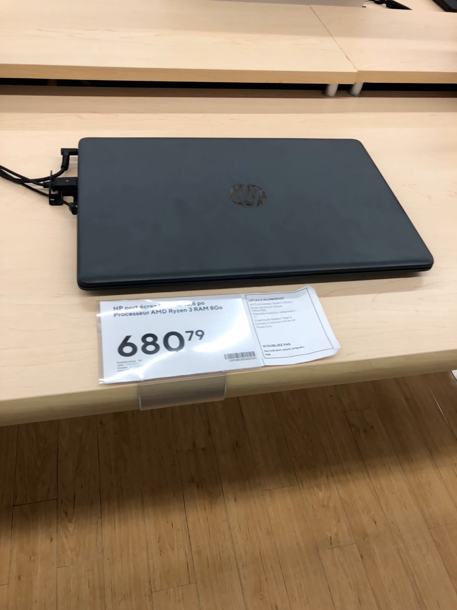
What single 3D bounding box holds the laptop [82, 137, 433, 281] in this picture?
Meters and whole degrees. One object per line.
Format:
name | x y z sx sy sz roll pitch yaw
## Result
laptop | 0.022 -0.130 0.593 0.374 0.005 0.245 -4 49 -13
